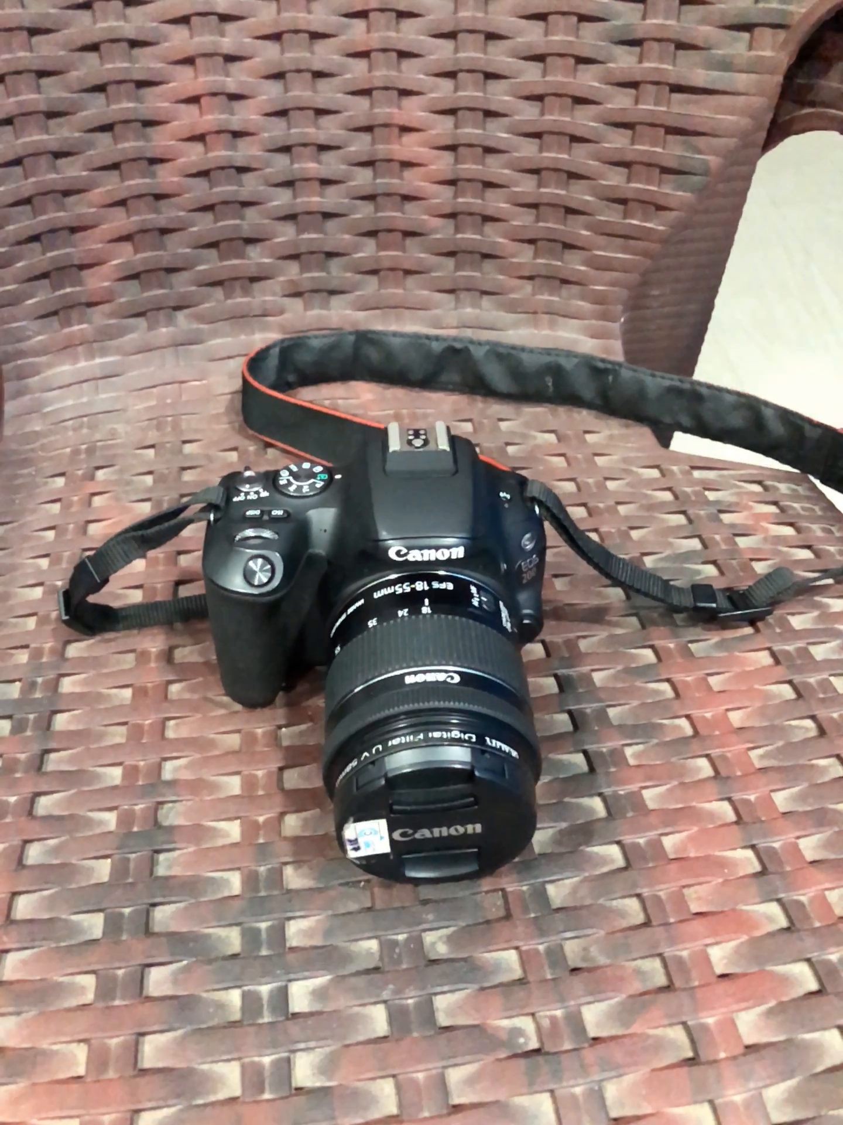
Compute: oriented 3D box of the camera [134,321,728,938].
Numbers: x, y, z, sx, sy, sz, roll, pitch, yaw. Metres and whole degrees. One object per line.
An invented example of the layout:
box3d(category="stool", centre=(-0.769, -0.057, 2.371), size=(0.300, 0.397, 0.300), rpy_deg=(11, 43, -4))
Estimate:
box3d(category="camera", centre=(-0.004, 0.018, 0.315), size=(0.140, 0.109, 0.171), rpy_deg=(-2, 51, -4))
